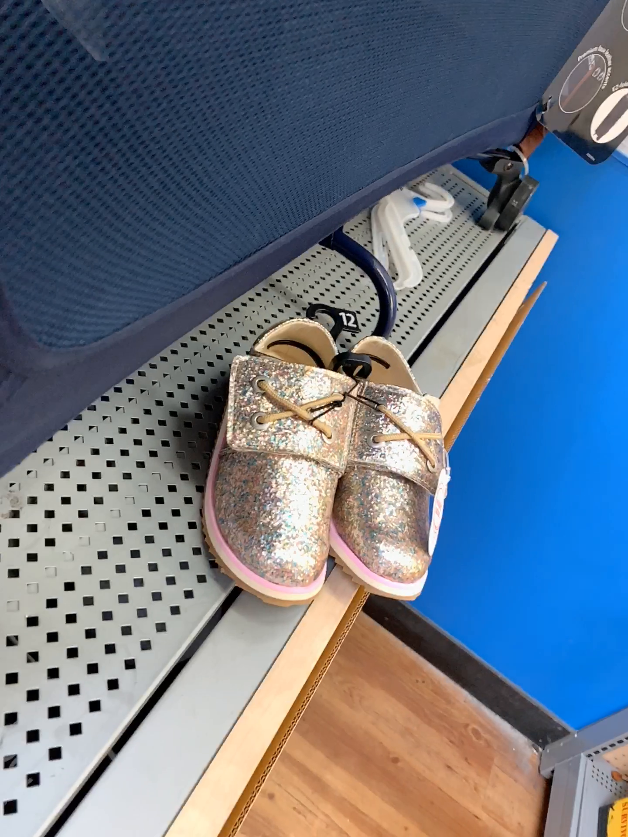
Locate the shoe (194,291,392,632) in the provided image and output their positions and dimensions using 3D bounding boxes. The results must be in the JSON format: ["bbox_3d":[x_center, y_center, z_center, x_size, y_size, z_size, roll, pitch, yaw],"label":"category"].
[{"bbox_3d":[-0.014,0.019,0.408,0.083,0.070,0.199,17,44,-18],"label":"shoe"}]

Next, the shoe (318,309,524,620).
[{"bbox_3d":[0.062,0.024,0.446,0.086,0.060,0.206,14,44,-21],"label":"shoe"}]
